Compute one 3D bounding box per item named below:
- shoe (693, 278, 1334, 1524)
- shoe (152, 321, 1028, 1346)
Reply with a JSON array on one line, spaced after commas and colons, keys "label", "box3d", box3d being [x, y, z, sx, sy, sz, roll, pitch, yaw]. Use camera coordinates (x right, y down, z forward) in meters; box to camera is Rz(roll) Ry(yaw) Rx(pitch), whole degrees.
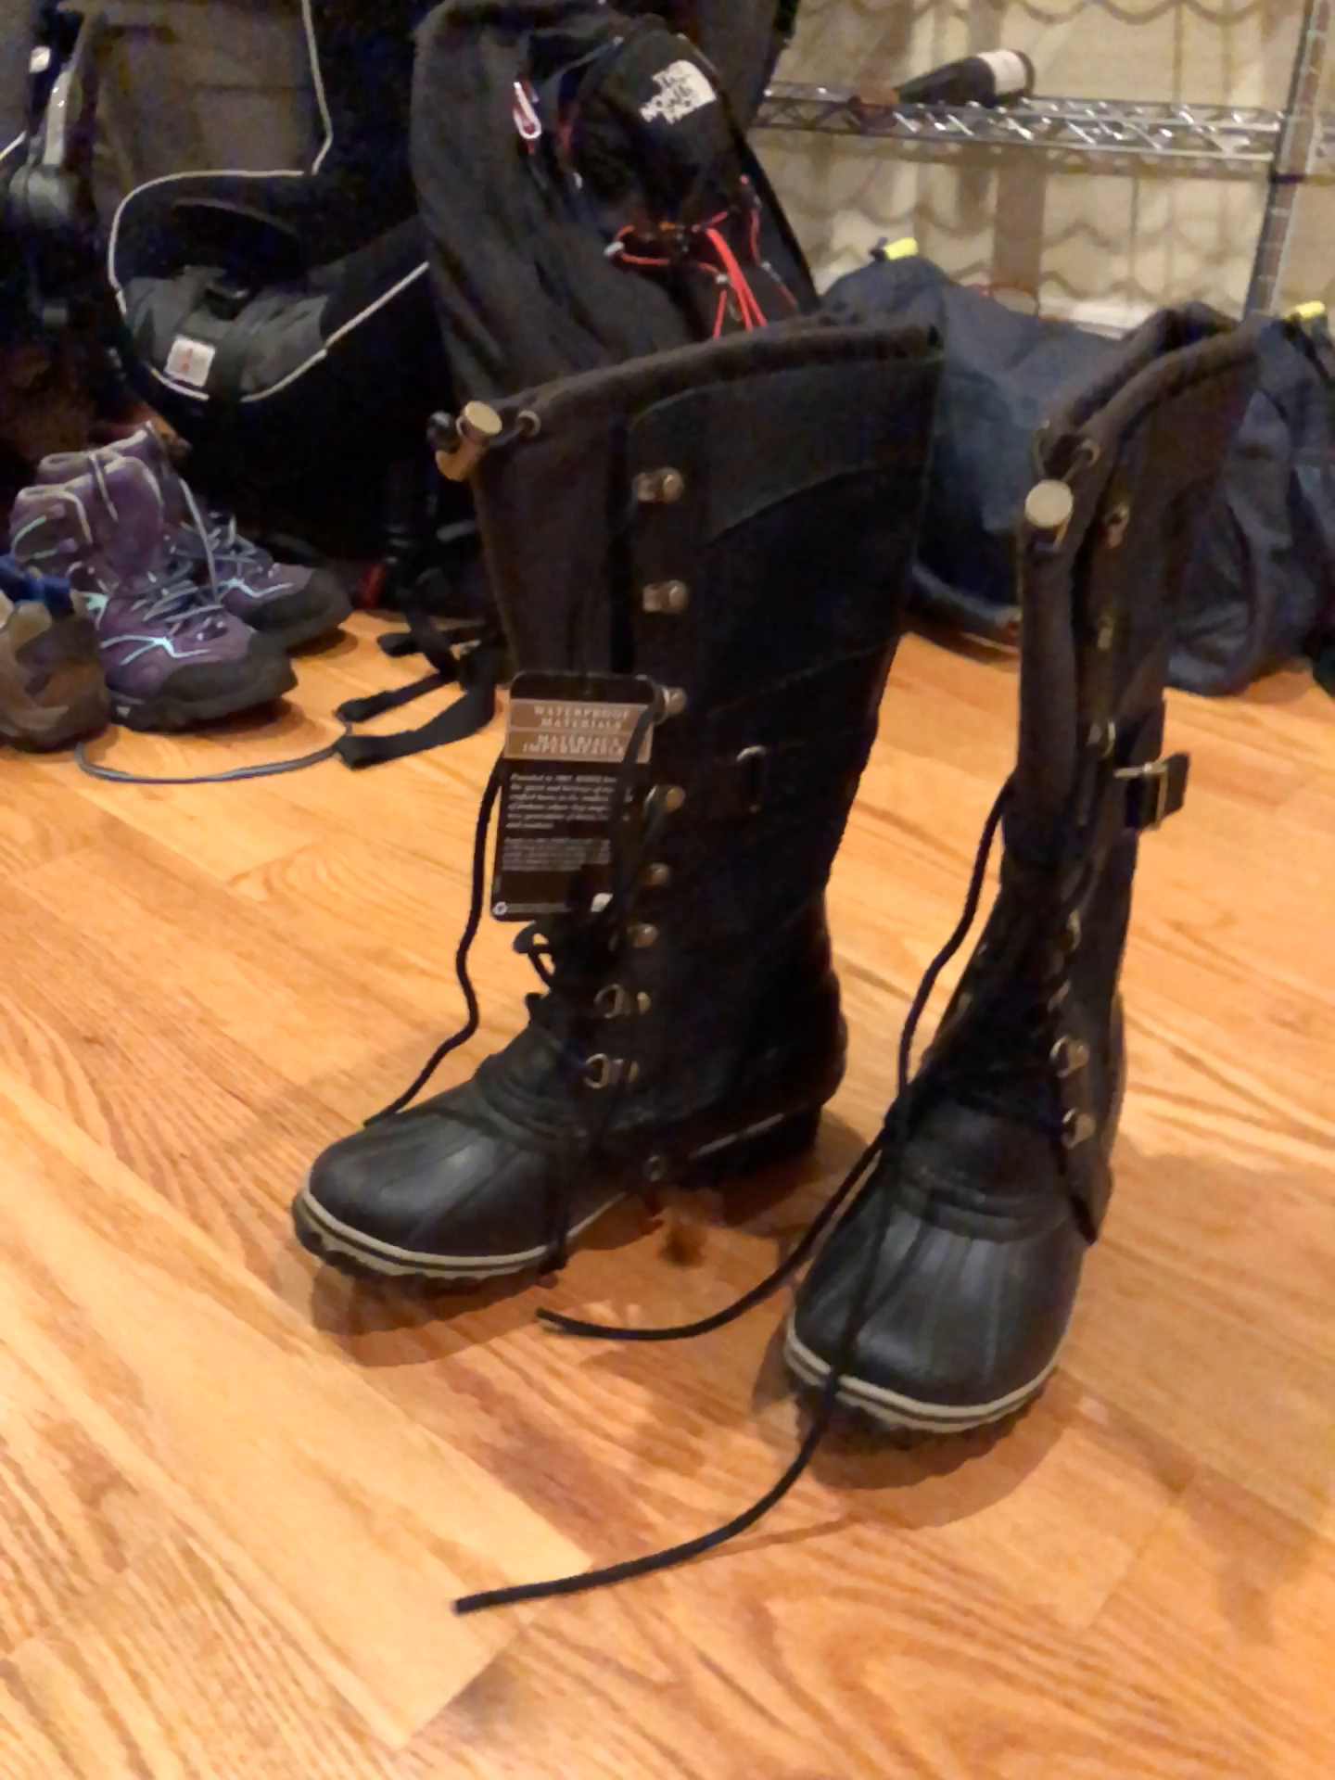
[{"label": "shoe", "box3d": [0.122, -0.012, 0.501, 0.100, 0.328, 0.261, 17, 34, 25]}, {"label": "shoe", "box3d": [-0.020, -0.028, 0.541, 0.261, 0.308, 0.100, -17, 35, -28]}]
